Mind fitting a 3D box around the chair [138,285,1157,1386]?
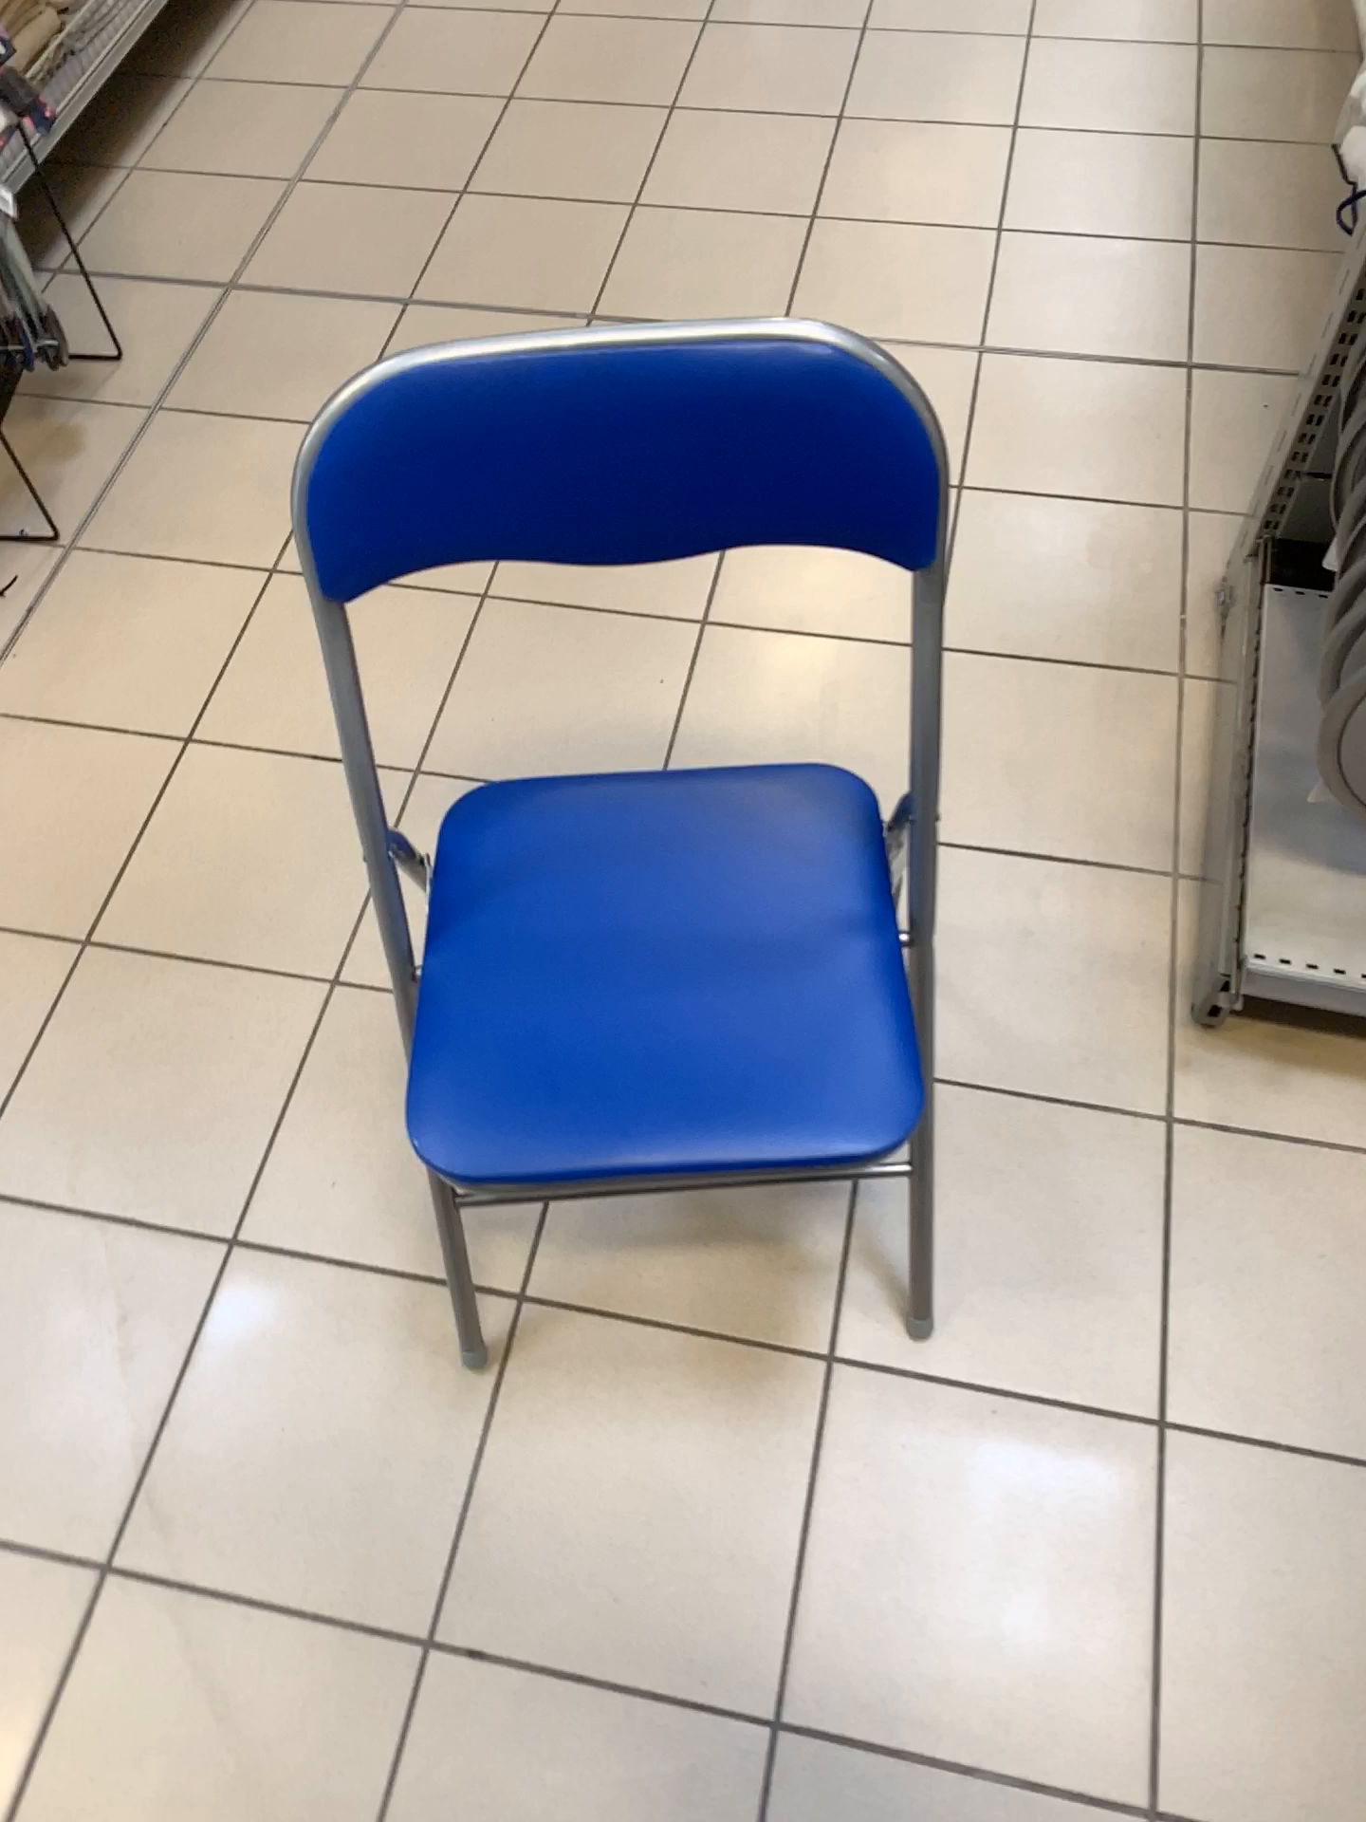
[{"bbox_3d":[-0.017,-0.002,1.069,0.478,0.664,0.526,-5,58,1],"label":"chair"}]
